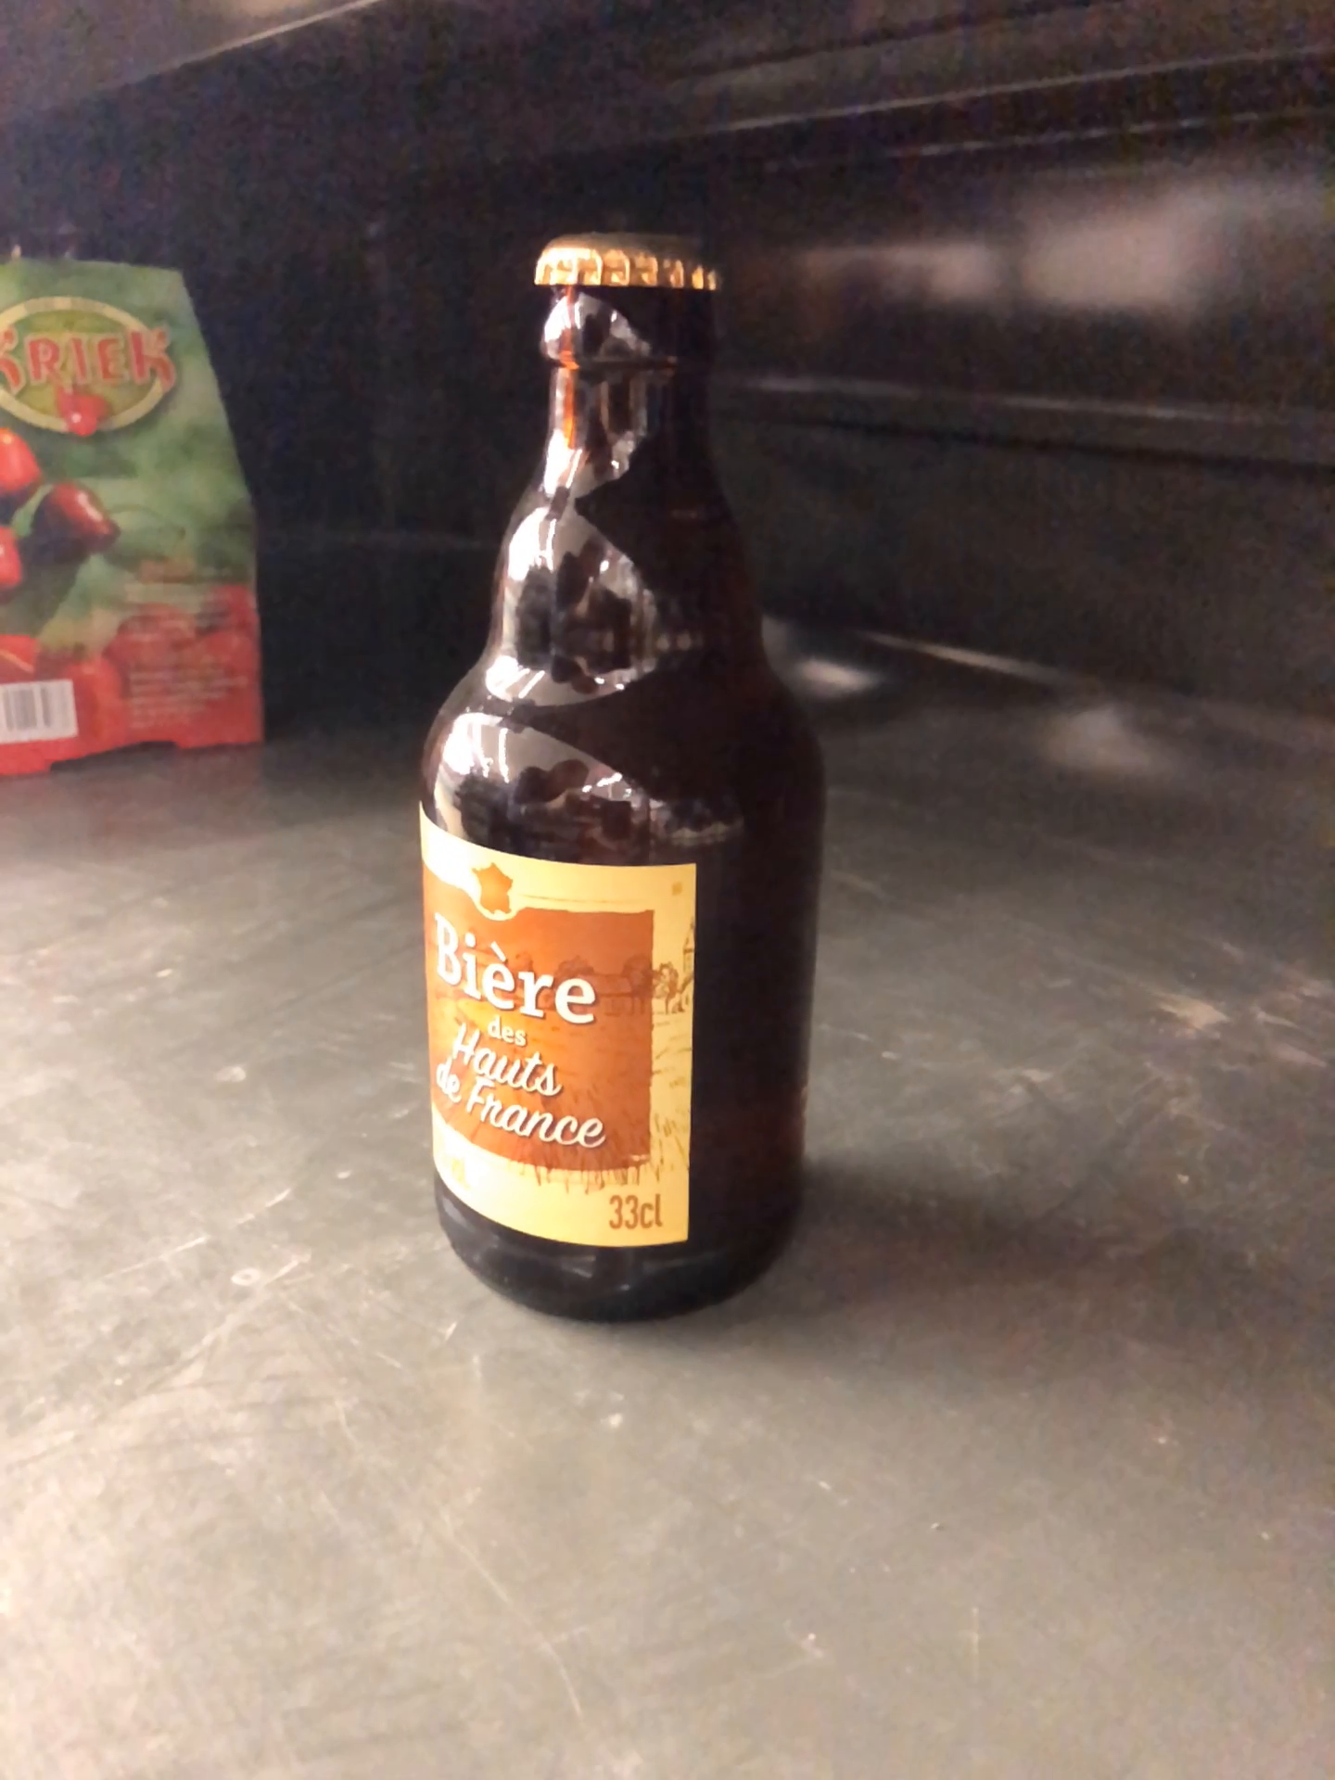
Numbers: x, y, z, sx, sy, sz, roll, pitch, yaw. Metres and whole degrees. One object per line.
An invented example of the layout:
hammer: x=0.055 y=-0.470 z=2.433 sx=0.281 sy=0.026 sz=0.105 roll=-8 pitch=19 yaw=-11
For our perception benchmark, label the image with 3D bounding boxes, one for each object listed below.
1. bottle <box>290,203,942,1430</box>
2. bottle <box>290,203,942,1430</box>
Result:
bottle: x=-0.008 y=-0.015 z=0.255 sx=0.070 sy=0.179 sz=0.070 roll=1 pitch=19 yaw=0
bottle: x=-0.008 y=-0.015 z=0.255 sx=0.070 sy=0.179 sz=0.070 roll=1 pitch=19 yaw=0
